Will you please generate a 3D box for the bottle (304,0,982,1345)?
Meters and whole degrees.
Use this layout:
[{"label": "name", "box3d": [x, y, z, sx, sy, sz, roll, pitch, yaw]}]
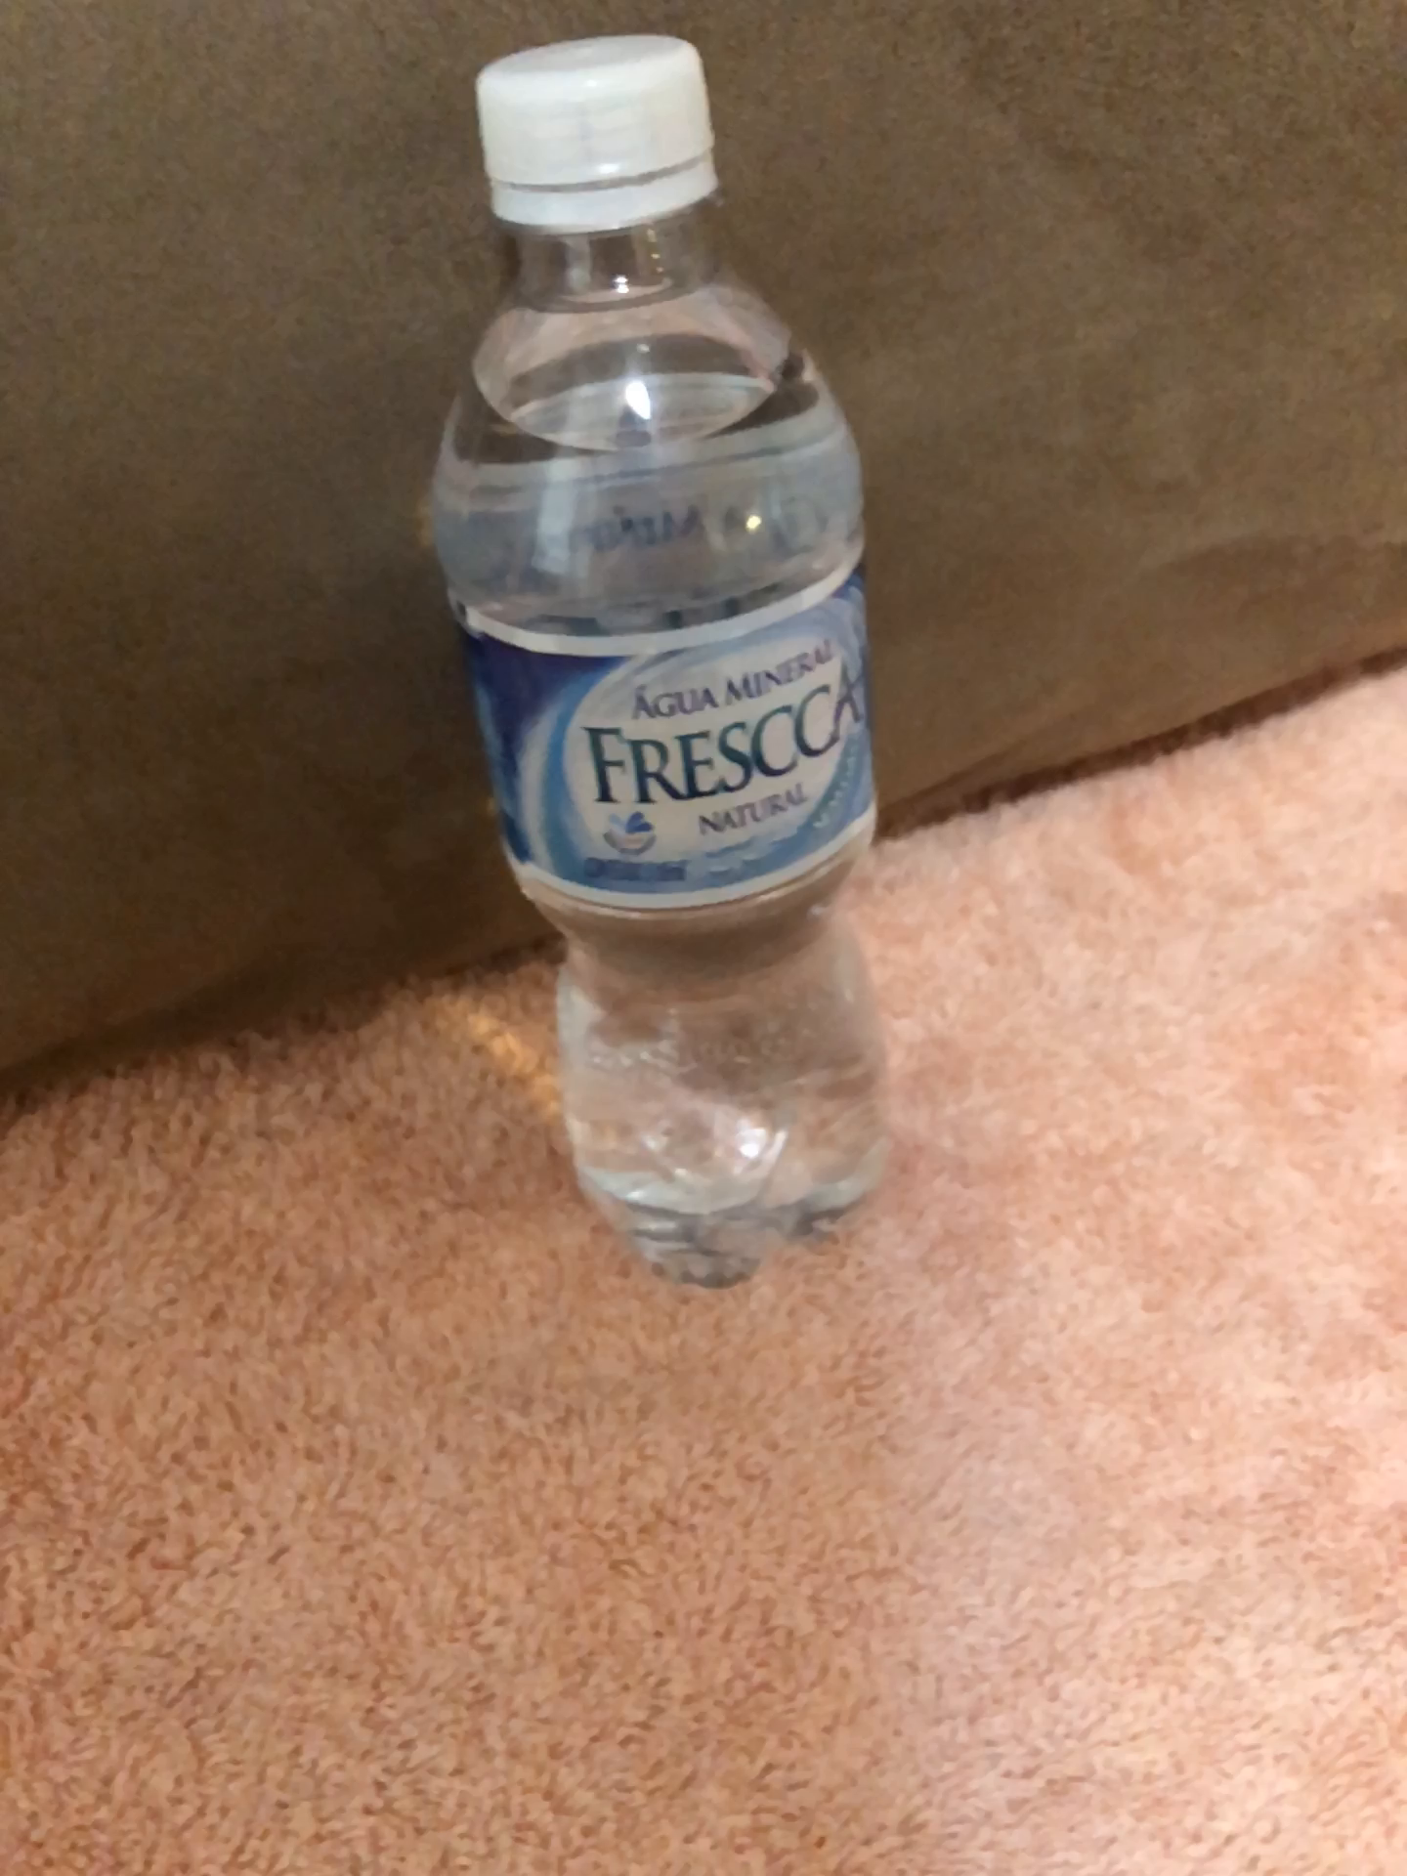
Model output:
[{"label": "bottle", "box3d": [-0.002, -0.035, 0.276, 0.070, 0.209, 0.080, -16, 39, -9]}]
